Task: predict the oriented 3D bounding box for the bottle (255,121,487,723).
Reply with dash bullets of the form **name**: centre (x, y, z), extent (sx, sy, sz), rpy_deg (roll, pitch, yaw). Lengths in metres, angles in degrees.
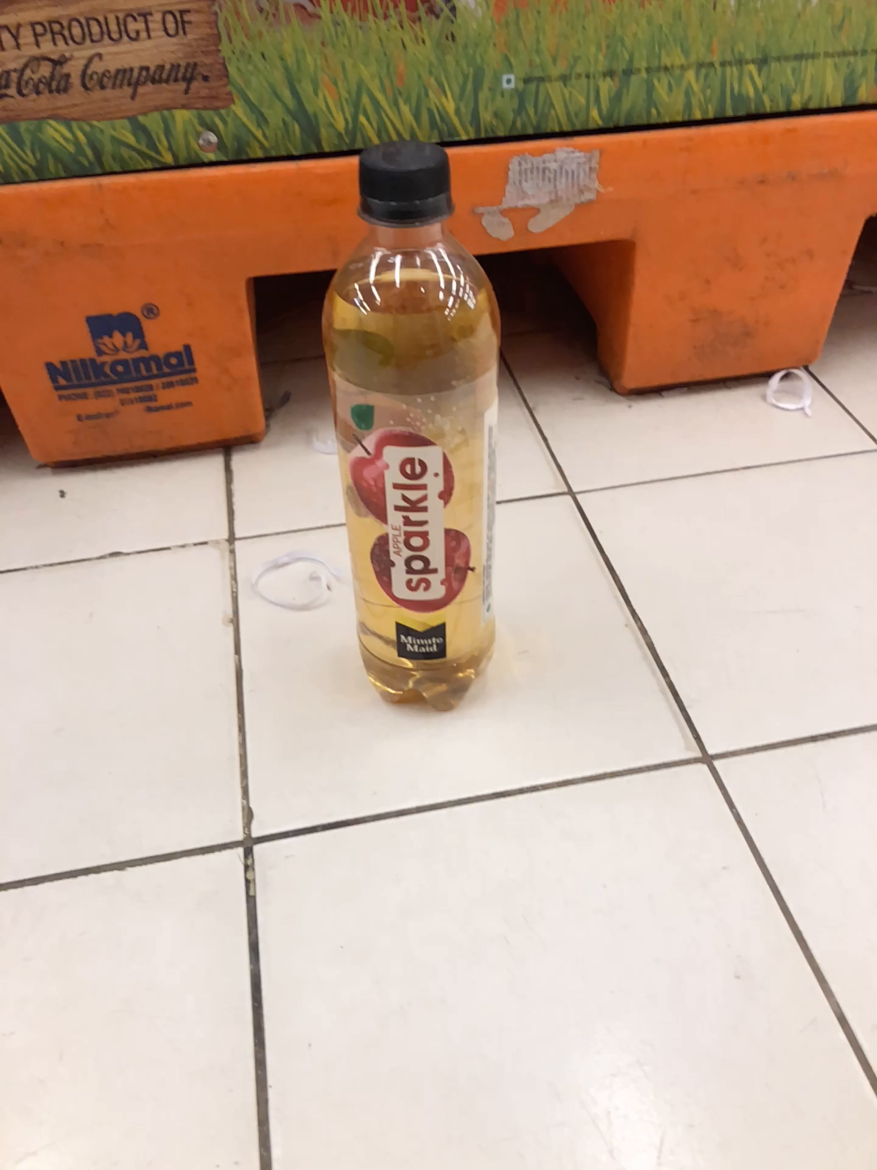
- **bottle**: centre (-0.015, -0.051, 0.395), extent (0.070, 0.238, 0.070), rpy_deg (-1, 41, 1)
